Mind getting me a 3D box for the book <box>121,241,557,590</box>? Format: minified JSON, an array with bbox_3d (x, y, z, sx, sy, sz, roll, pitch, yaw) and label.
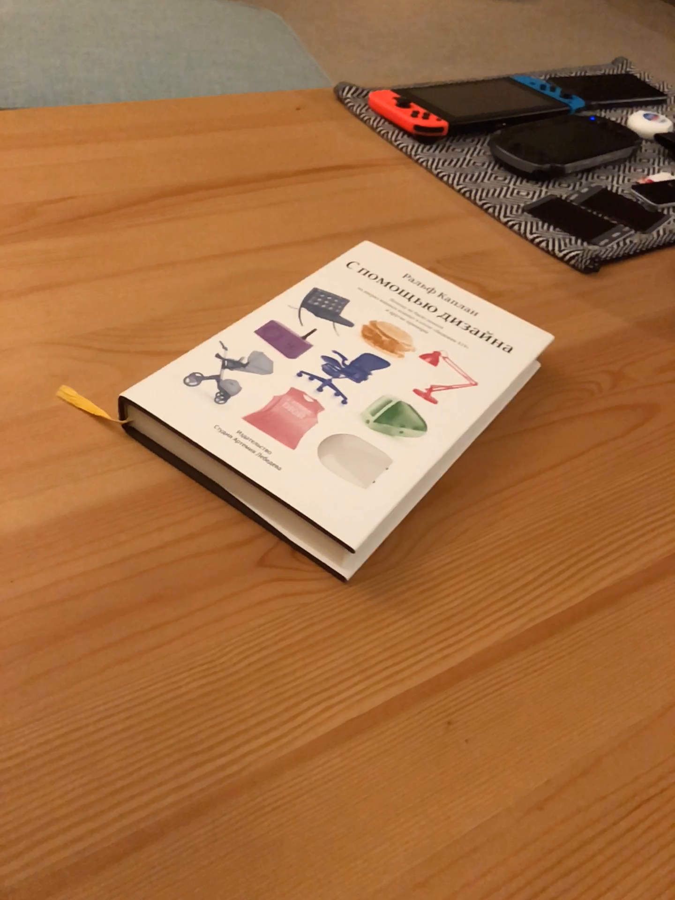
[{"bbox_3d":[0.012,-0.041,0.446,0.152,0.034,0.227,32,48,20],"label":"book"}]
